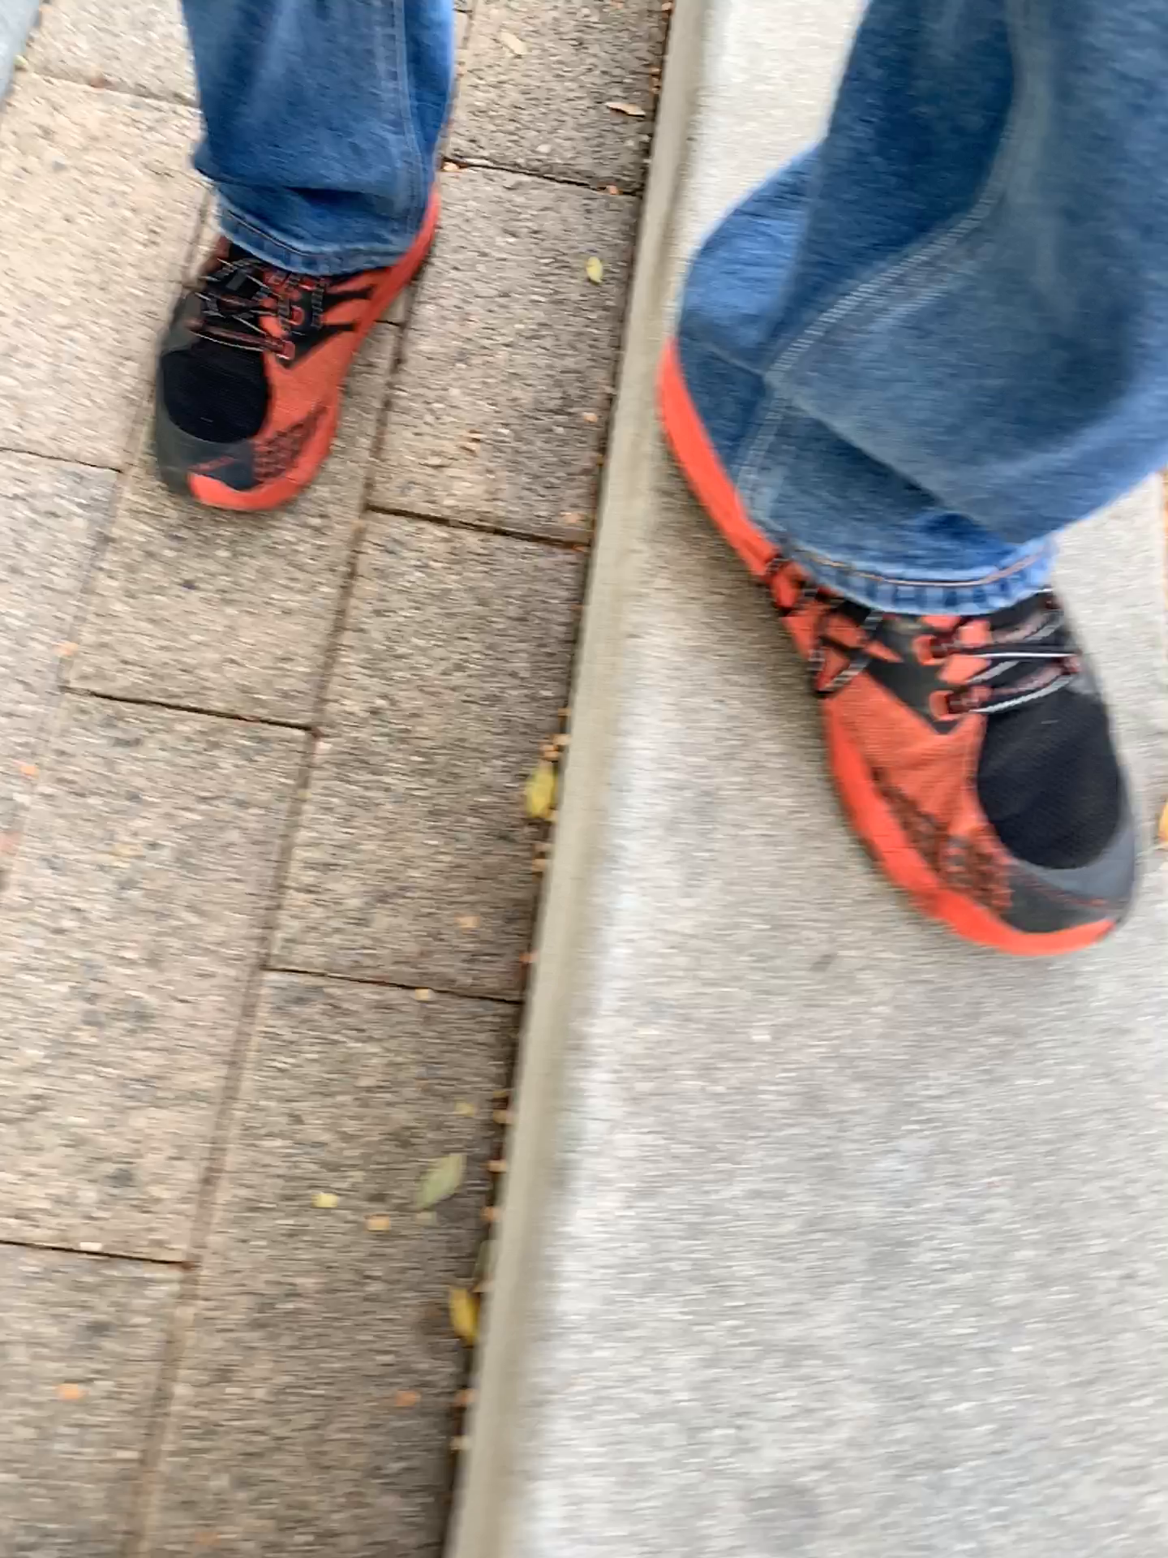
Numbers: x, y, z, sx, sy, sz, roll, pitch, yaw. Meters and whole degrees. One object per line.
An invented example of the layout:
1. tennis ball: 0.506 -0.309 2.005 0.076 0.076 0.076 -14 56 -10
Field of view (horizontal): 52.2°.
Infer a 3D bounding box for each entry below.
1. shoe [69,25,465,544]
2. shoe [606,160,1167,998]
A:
1. shoe: -0.187 -0.316 0.757 0.136 0.080 0.306 17 69 -3
2. shoe: 0.134 -0.086 0.477 0.122 0.080 0.310 -21 75 -15
